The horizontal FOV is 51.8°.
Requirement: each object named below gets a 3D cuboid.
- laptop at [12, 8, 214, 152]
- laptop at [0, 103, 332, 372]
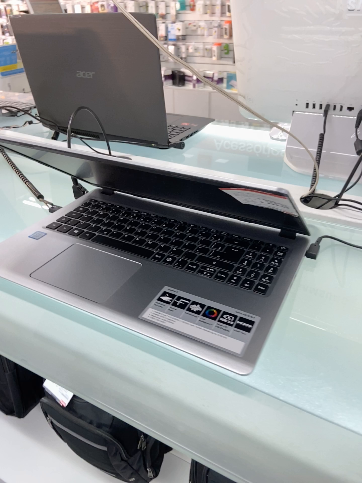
[{"bbox_3d":[-0.145,-0.416,0.915,0.363,0.249,0.266,16,37,24],"label":"laptop"},{"bbox_3d":[-0.047,-0.049,0.432,0.360,0.138,0.237,15,36,24],"label":"laptop"}]
